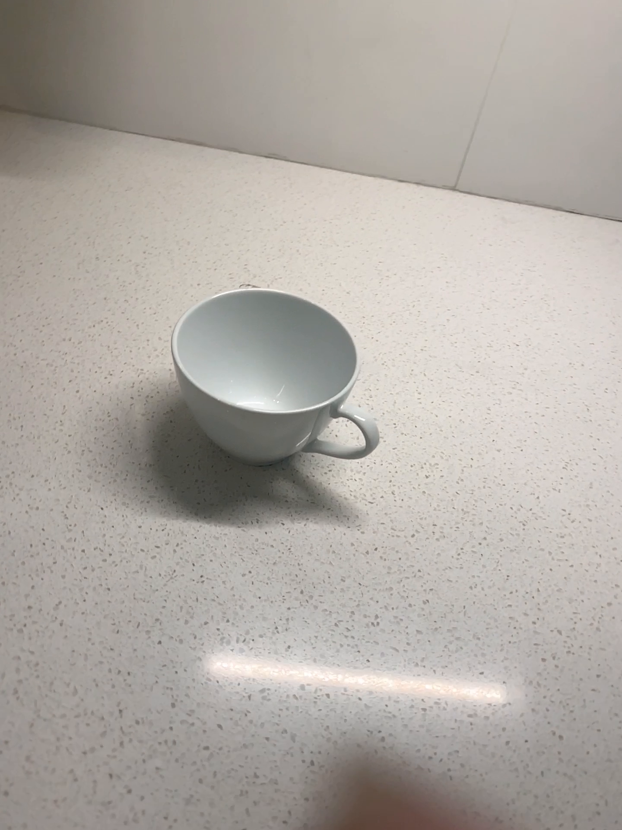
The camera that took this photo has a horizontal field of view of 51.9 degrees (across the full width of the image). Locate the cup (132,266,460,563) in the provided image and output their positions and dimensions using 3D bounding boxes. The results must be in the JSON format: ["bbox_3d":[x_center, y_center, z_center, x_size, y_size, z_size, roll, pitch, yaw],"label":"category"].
[{"bbox_3d":[-0.010,-0.007,0.322,0.130,0.050,0.090,35,51,21],"label":"cup"}]

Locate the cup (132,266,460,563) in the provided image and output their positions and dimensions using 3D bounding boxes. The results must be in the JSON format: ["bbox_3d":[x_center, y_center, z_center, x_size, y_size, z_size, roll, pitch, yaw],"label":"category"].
[{"bbox_3d":[-0.010,-0.007,0.322,0.130,0.050,0.090,35,51,21],"label":"cup"}]
